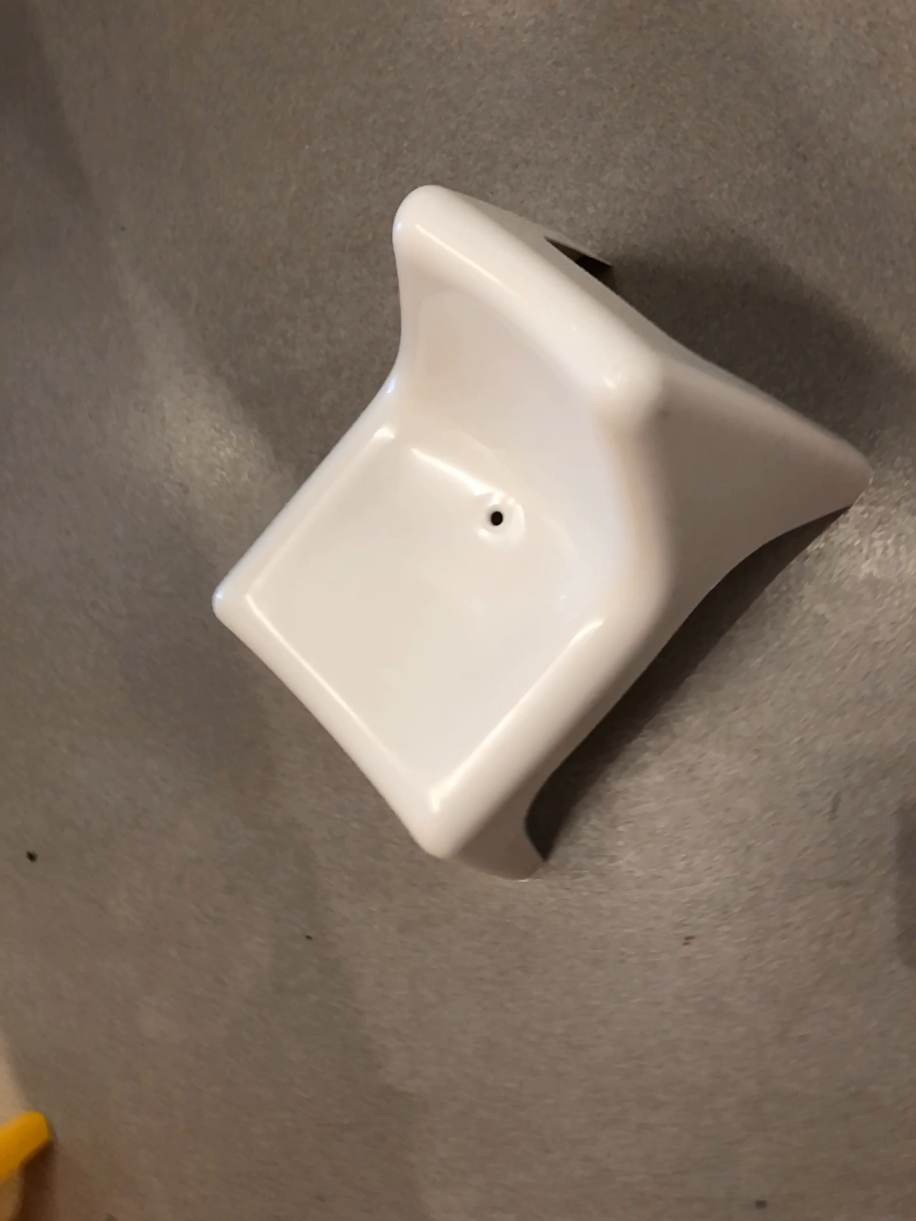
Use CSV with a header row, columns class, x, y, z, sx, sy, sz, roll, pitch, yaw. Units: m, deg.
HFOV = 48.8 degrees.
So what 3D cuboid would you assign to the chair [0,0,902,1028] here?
class,x,y,z,sx,sy,sz,roll,pitch,yaw
chair,-0.012,-0.081,1.025,0.530,0.399,0.691,42,103,21
